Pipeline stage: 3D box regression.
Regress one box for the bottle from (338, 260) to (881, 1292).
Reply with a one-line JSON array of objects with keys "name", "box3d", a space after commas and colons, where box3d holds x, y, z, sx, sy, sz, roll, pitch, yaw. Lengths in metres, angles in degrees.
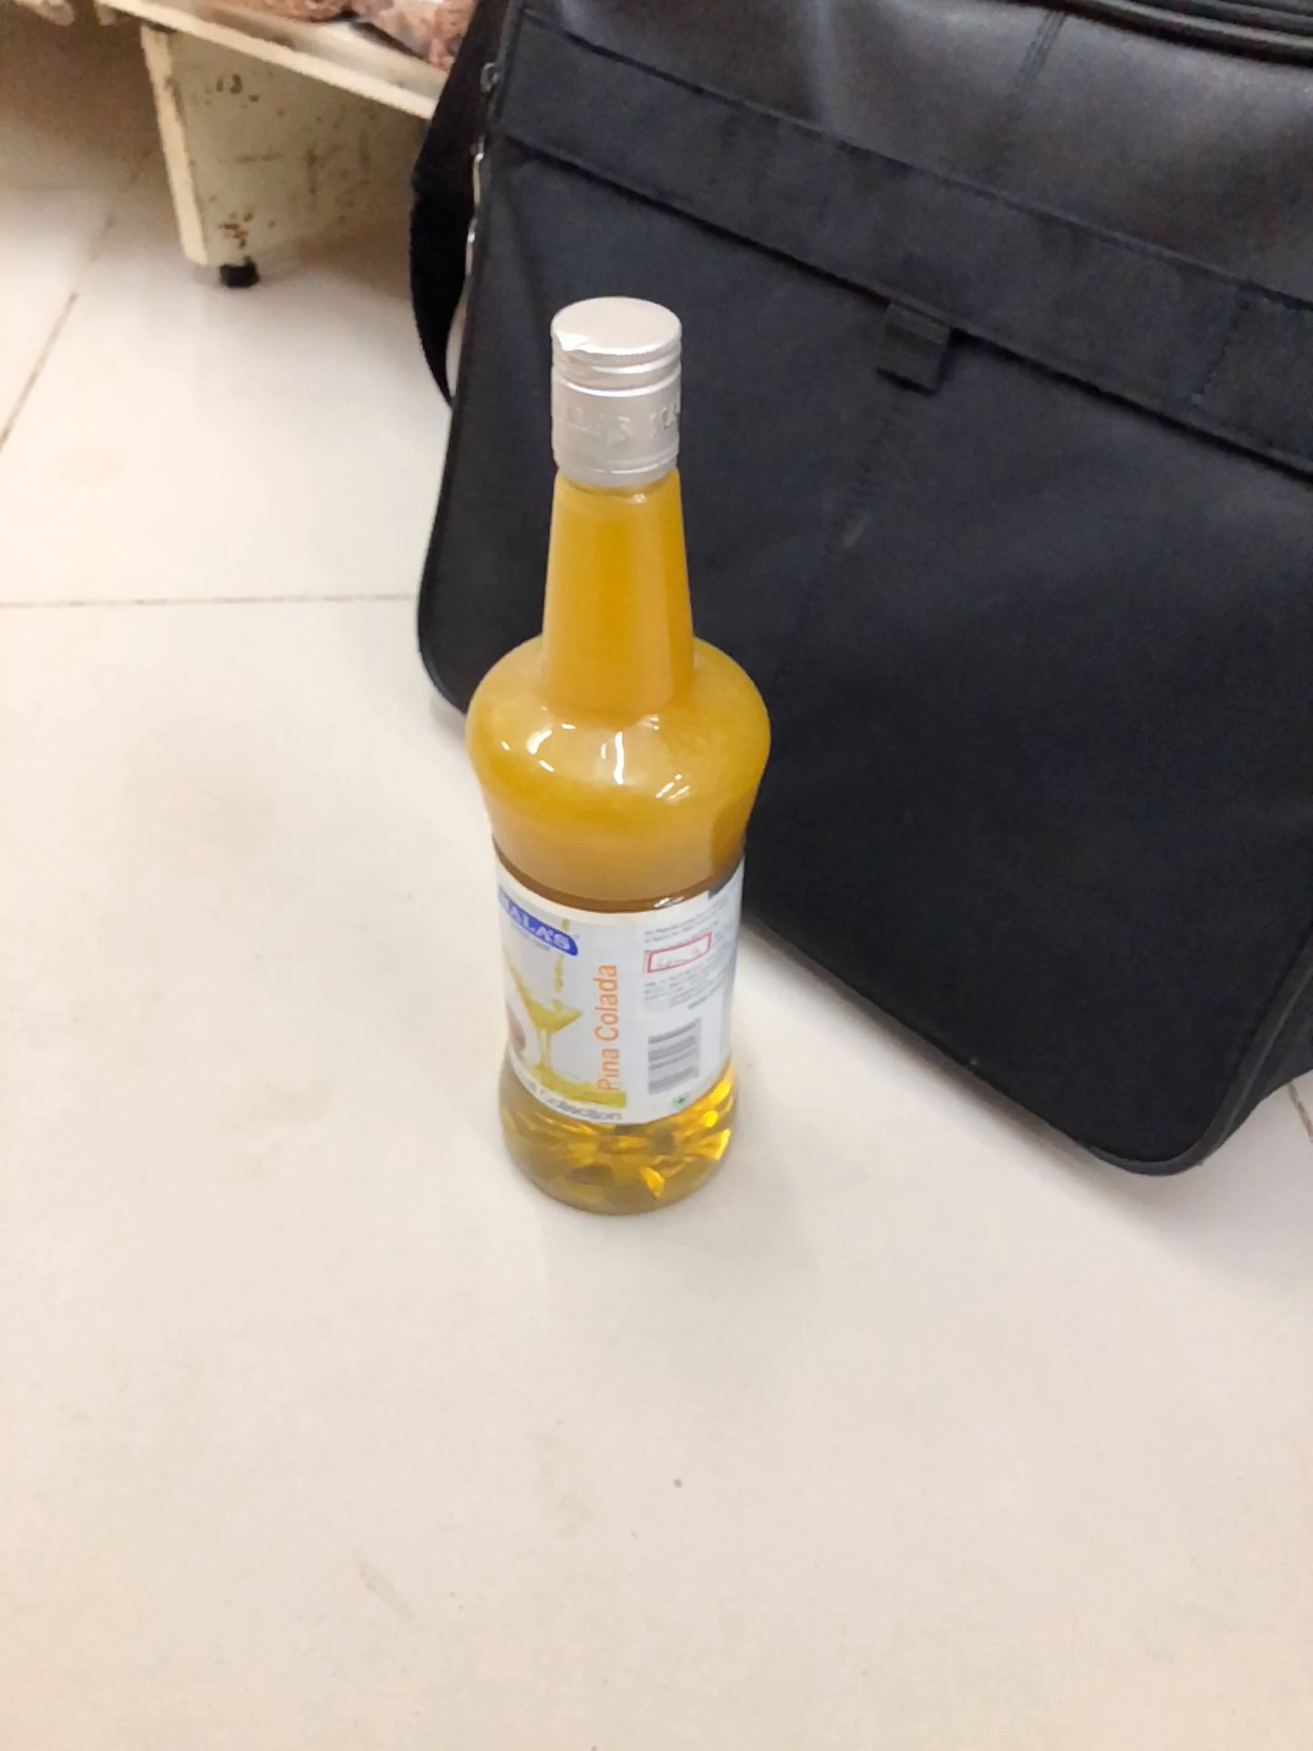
[{"name": "bottle", "box3d": [-0.013, -0.009, 0.422, 0.090, 0.288, 0.080, 29, 50, 26]}]
